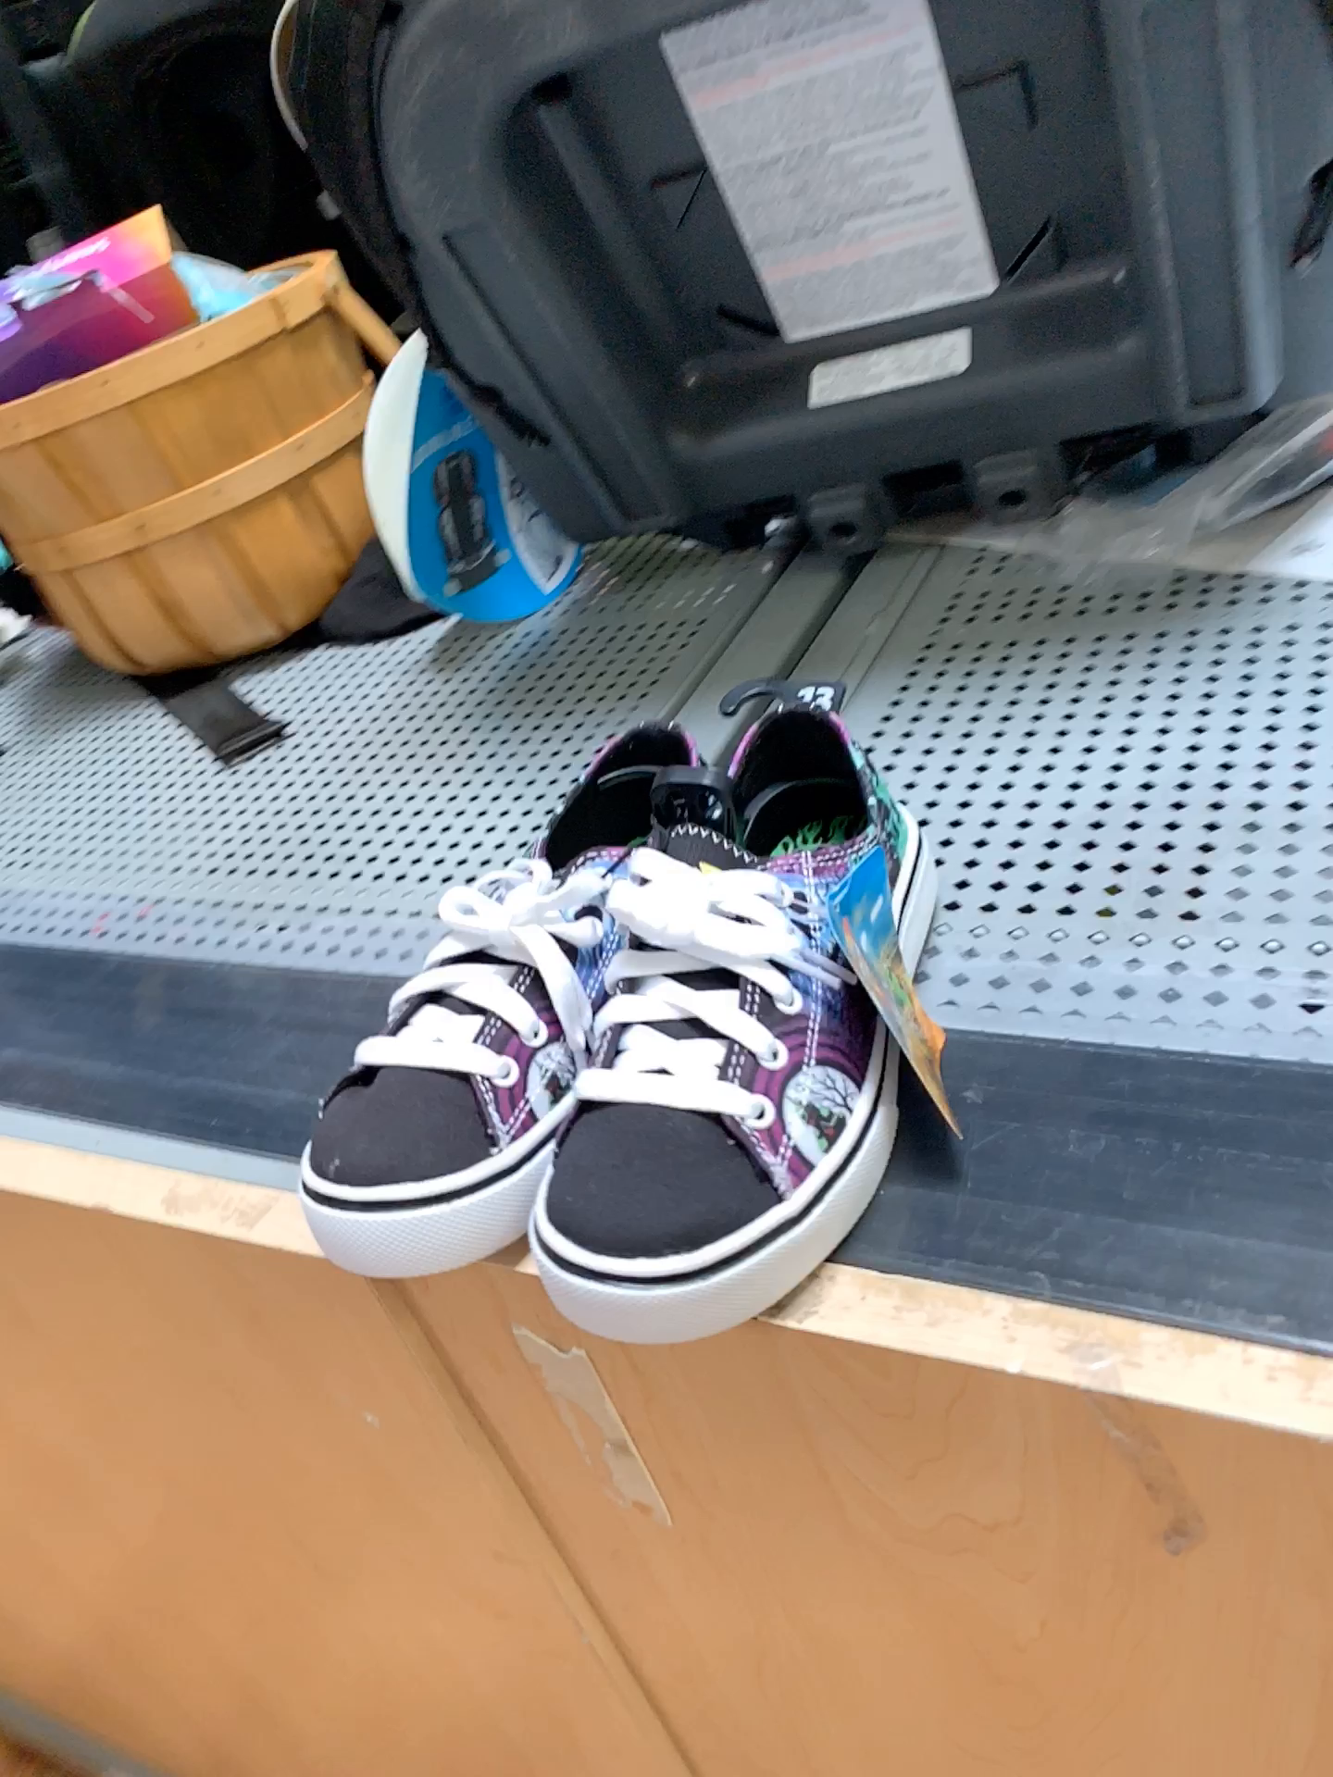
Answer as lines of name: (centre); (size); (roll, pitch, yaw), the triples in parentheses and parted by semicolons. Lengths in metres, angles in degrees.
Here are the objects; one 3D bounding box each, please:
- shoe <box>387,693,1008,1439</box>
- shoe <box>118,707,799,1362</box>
shoe: (0.025, 0.032, 0.391); (0.089, 0.073, 0.213); (1, 38, 29)
shoe: (-0.051, 0.029, 0.432); (0.092, 0.073, 0.208); (6, 41, 34)
